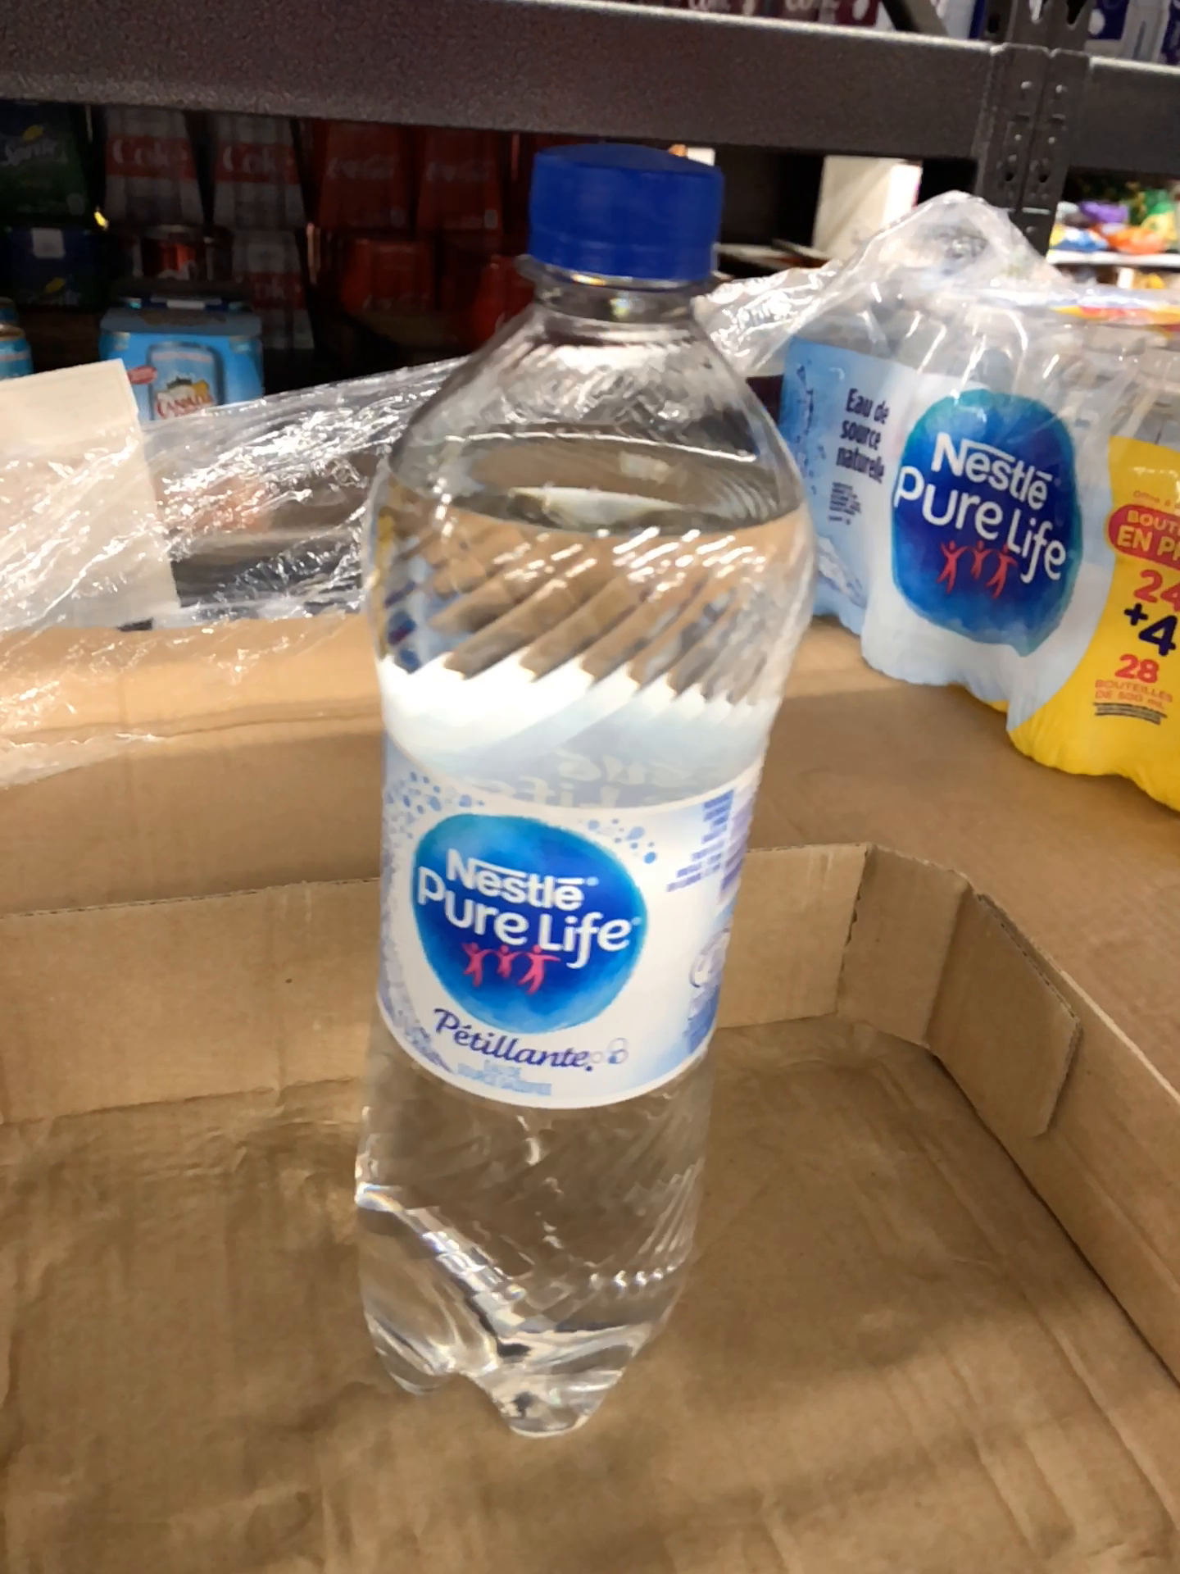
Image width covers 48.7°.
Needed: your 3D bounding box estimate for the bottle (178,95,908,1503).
[{"bbox_3d":[-0.010,0.009,0.289,0.100,0.278,0.101,4,27,-2],"label":"bottle"}]
